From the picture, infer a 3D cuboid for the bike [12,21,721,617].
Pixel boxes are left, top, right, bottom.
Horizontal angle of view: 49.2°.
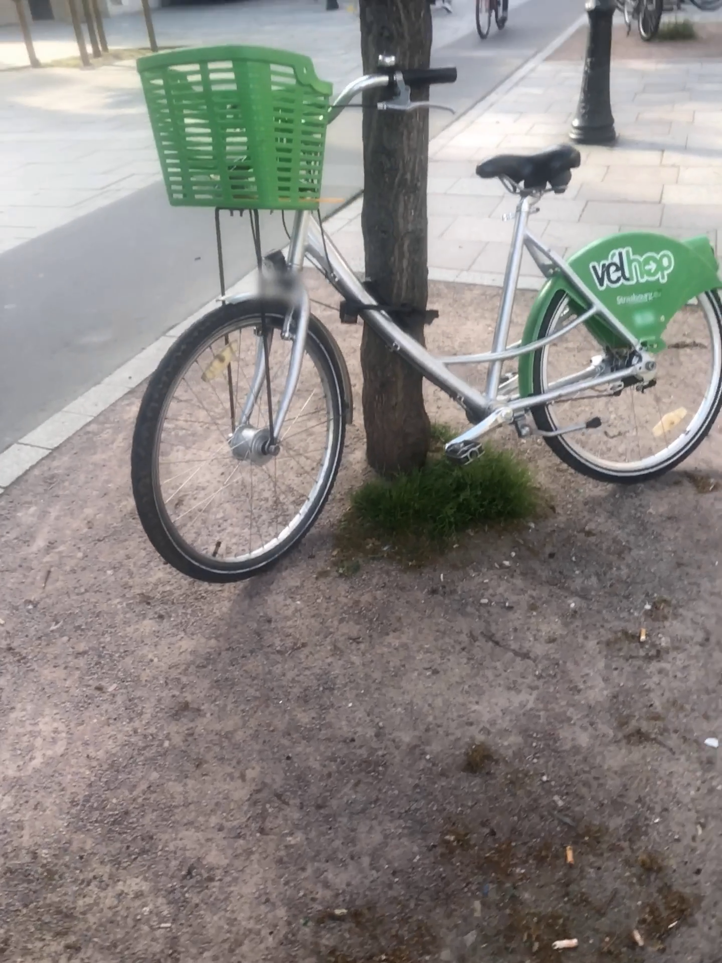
[{"bbox_3d":[0.224,-0.475,1.951,1.723,1.115,0.312,-19,36,-25],"label":"bike"}]
